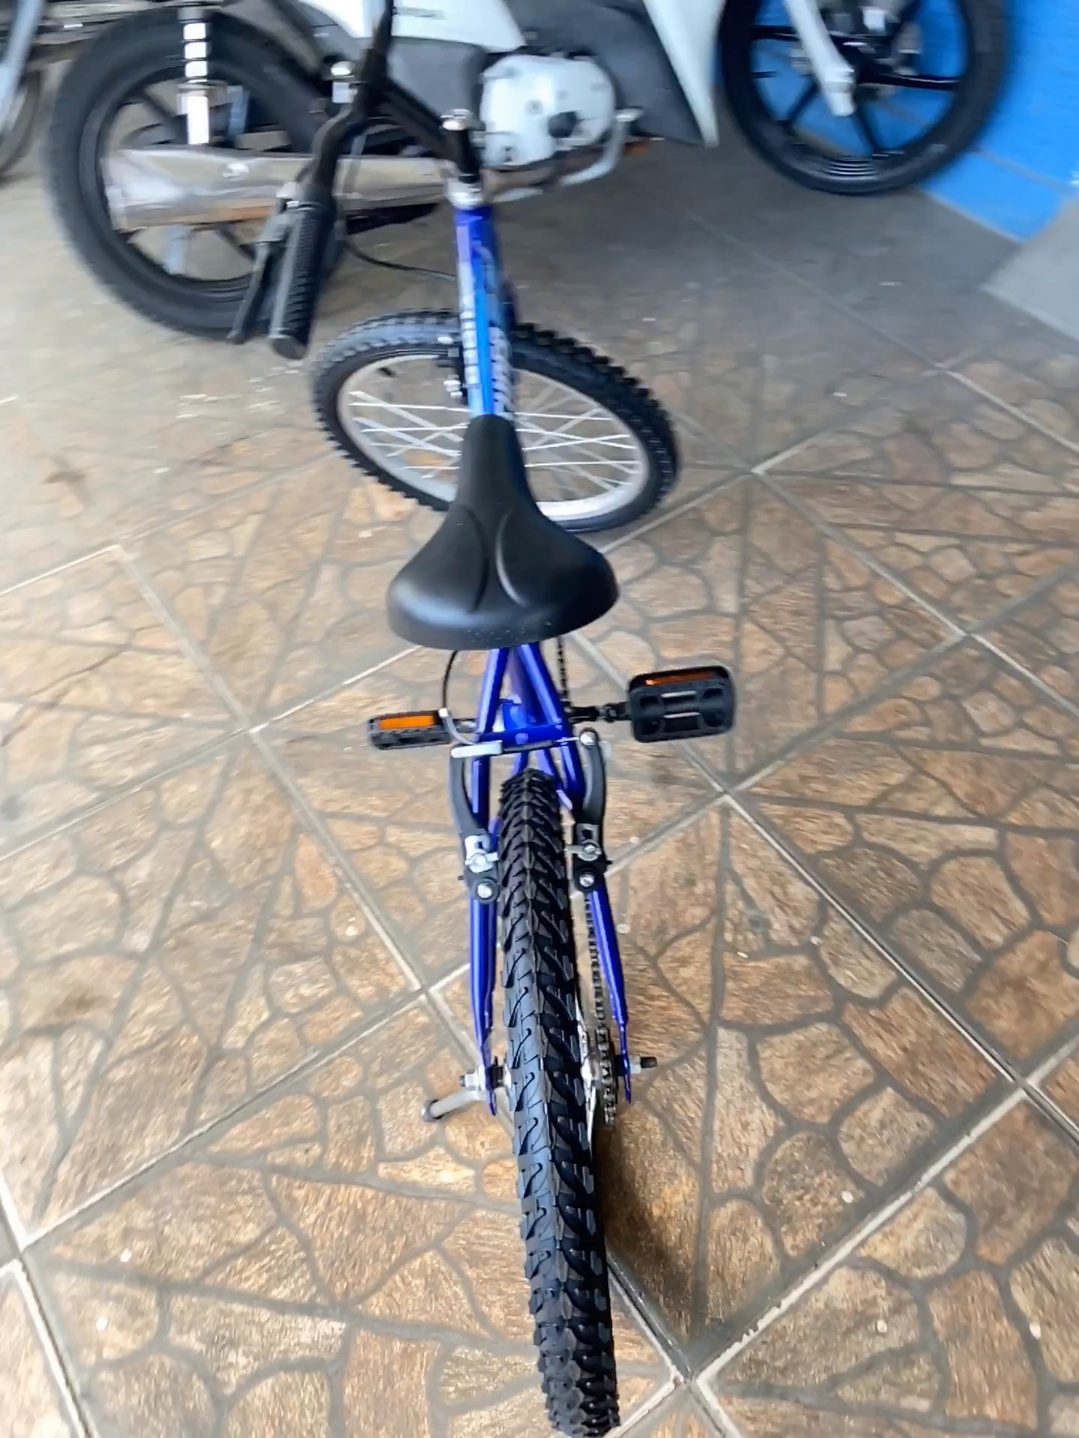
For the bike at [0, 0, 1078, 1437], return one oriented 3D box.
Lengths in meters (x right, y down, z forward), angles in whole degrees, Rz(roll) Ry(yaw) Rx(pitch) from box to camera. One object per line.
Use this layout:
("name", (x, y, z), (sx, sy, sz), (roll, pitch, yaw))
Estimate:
("bike", (-0.080, -0.094, 0.906), (0.543, 0.949, 1.187), (-9, 52, -9))
